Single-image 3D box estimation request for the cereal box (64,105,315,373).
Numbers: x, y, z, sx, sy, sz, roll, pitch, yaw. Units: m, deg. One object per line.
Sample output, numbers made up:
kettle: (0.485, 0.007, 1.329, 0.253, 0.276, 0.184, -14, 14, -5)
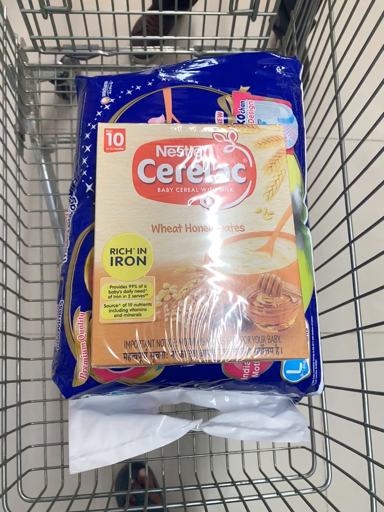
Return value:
cereal box: (-0.006, -0.014, 0.304, 0.160, 0.060, 0.190, -1, 76, -5)
